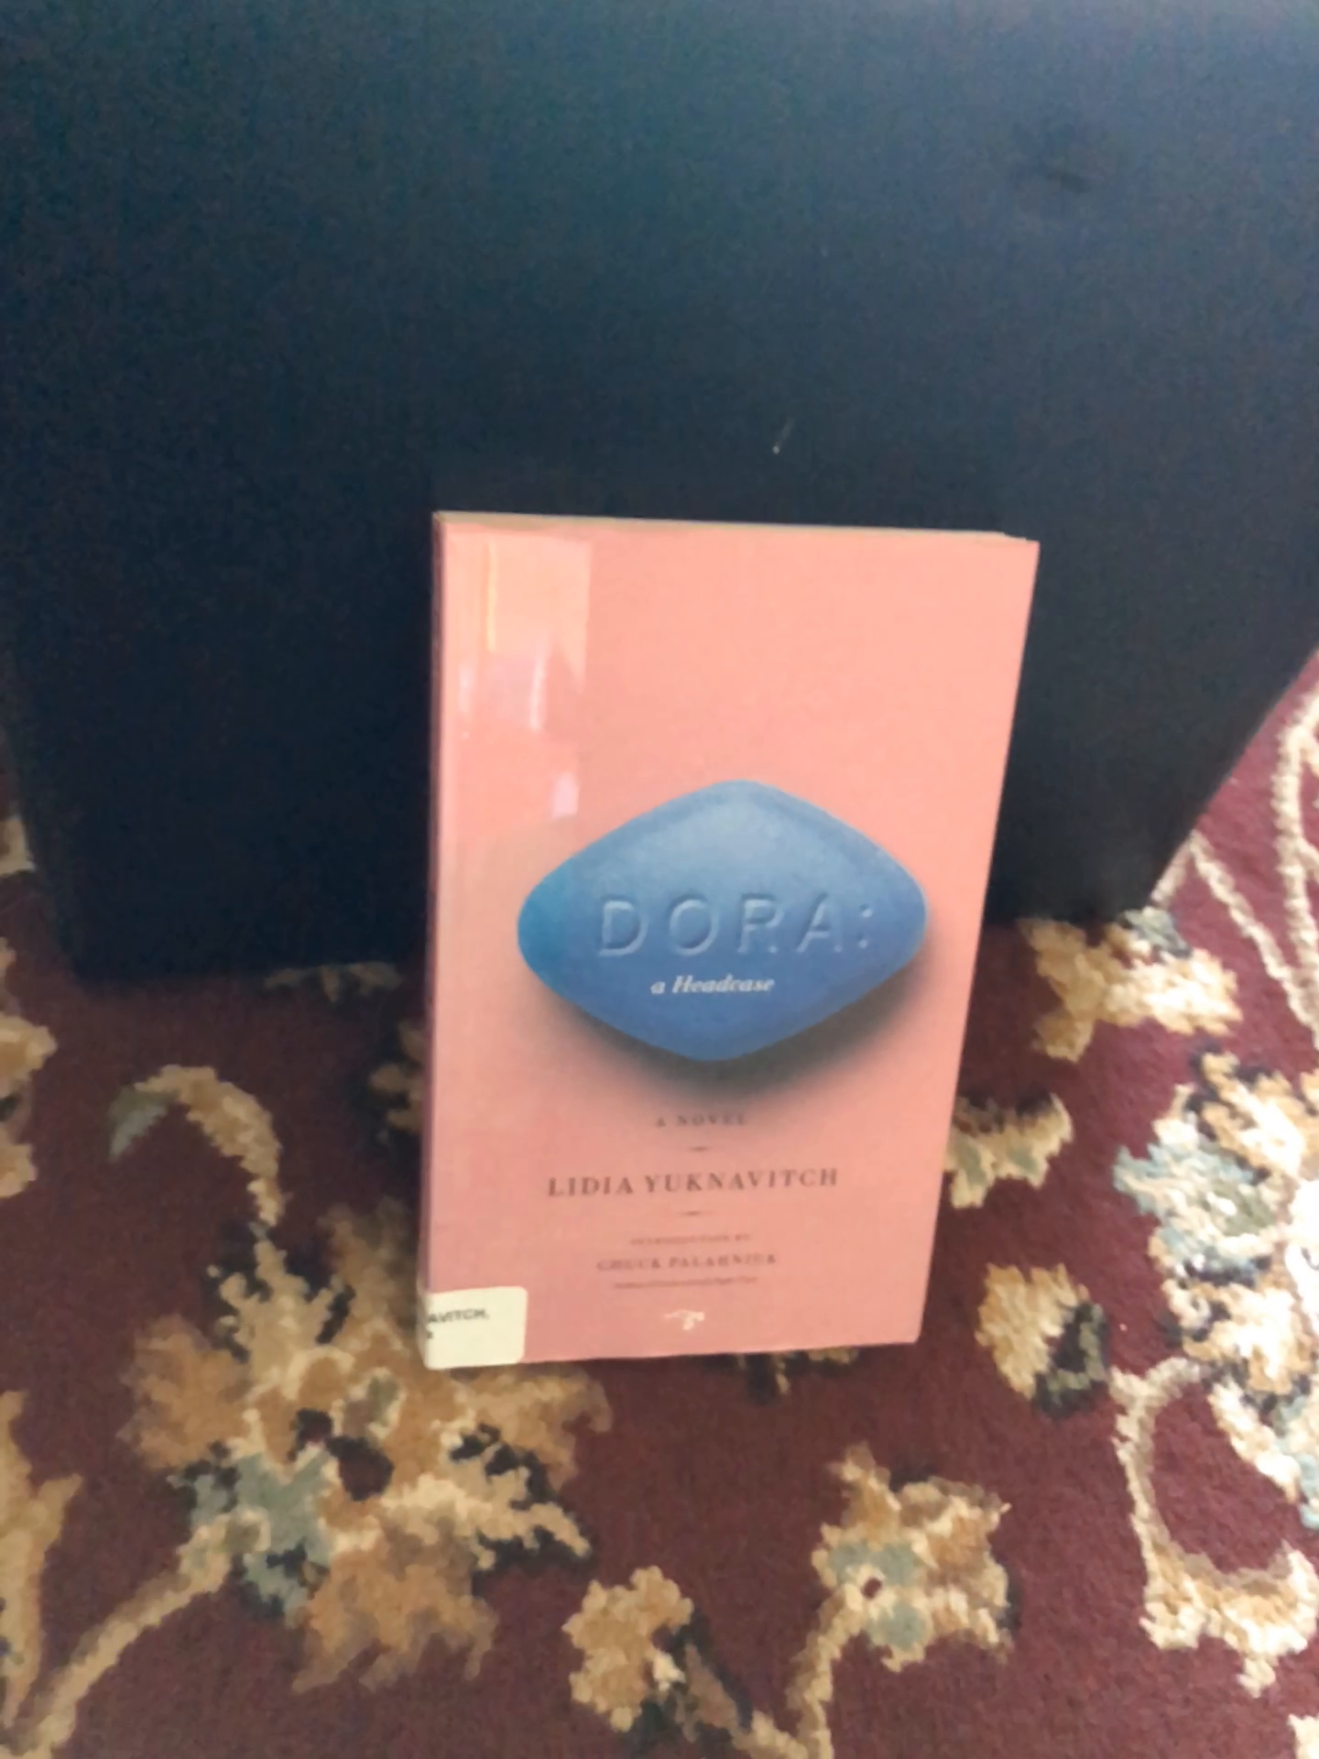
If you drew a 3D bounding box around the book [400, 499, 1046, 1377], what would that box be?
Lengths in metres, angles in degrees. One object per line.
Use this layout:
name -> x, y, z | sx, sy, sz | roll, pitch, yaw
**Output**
book -> 0.008, 0.023, 0.391 | 0.149, 0.231, 0.030 | 0, 21, -11
